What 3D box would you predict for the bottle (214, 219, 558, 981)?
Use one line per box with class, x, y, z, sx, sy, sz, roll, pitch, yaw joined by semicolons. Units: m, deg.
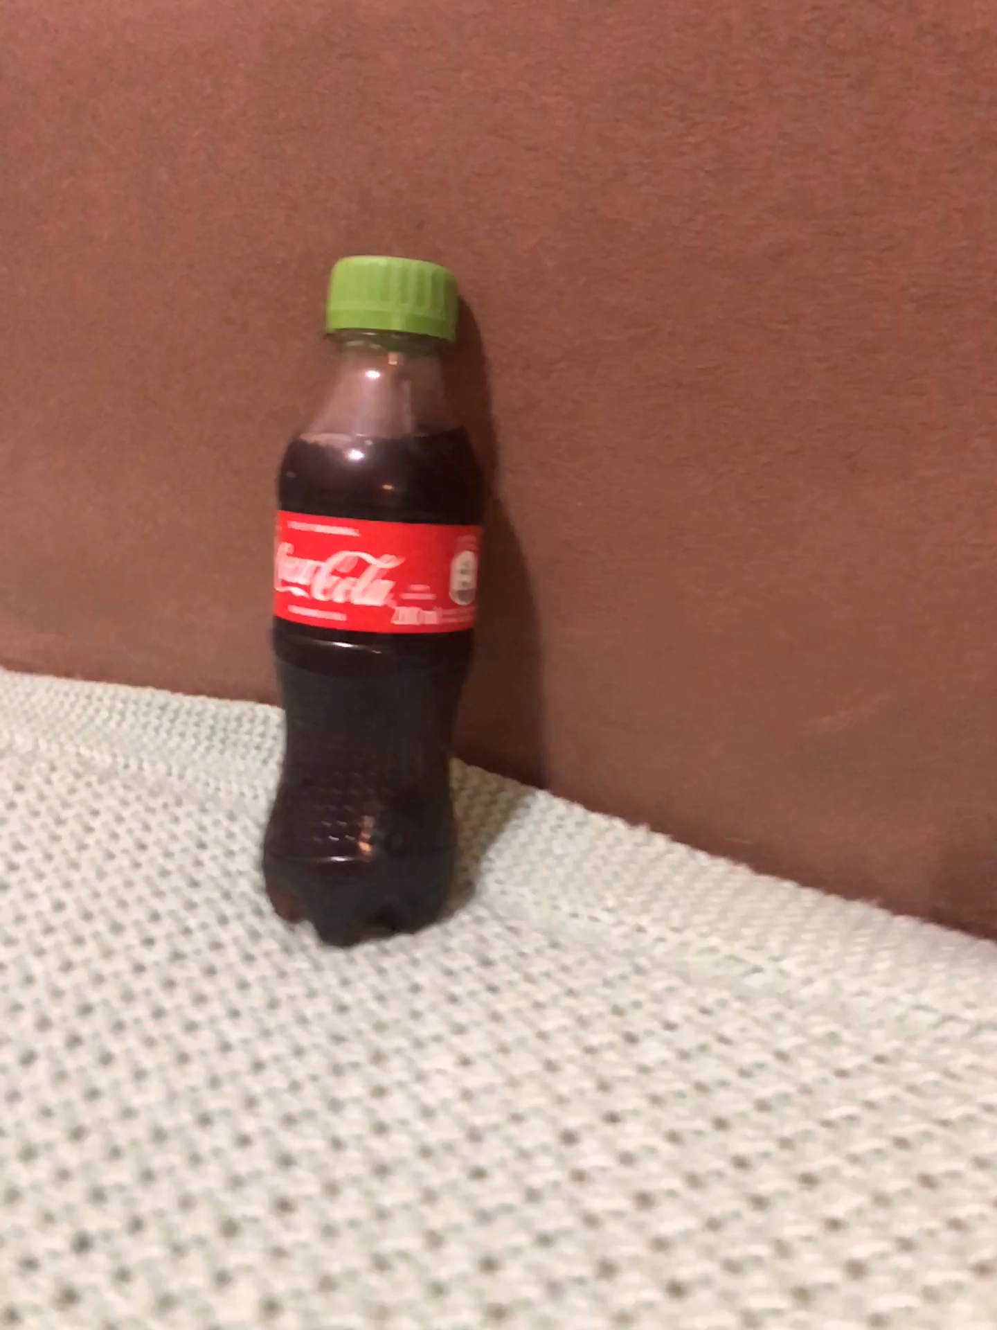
bottle;-0.029;-0.018;0.283;0.060;0.169;0.060;3;11;-1
